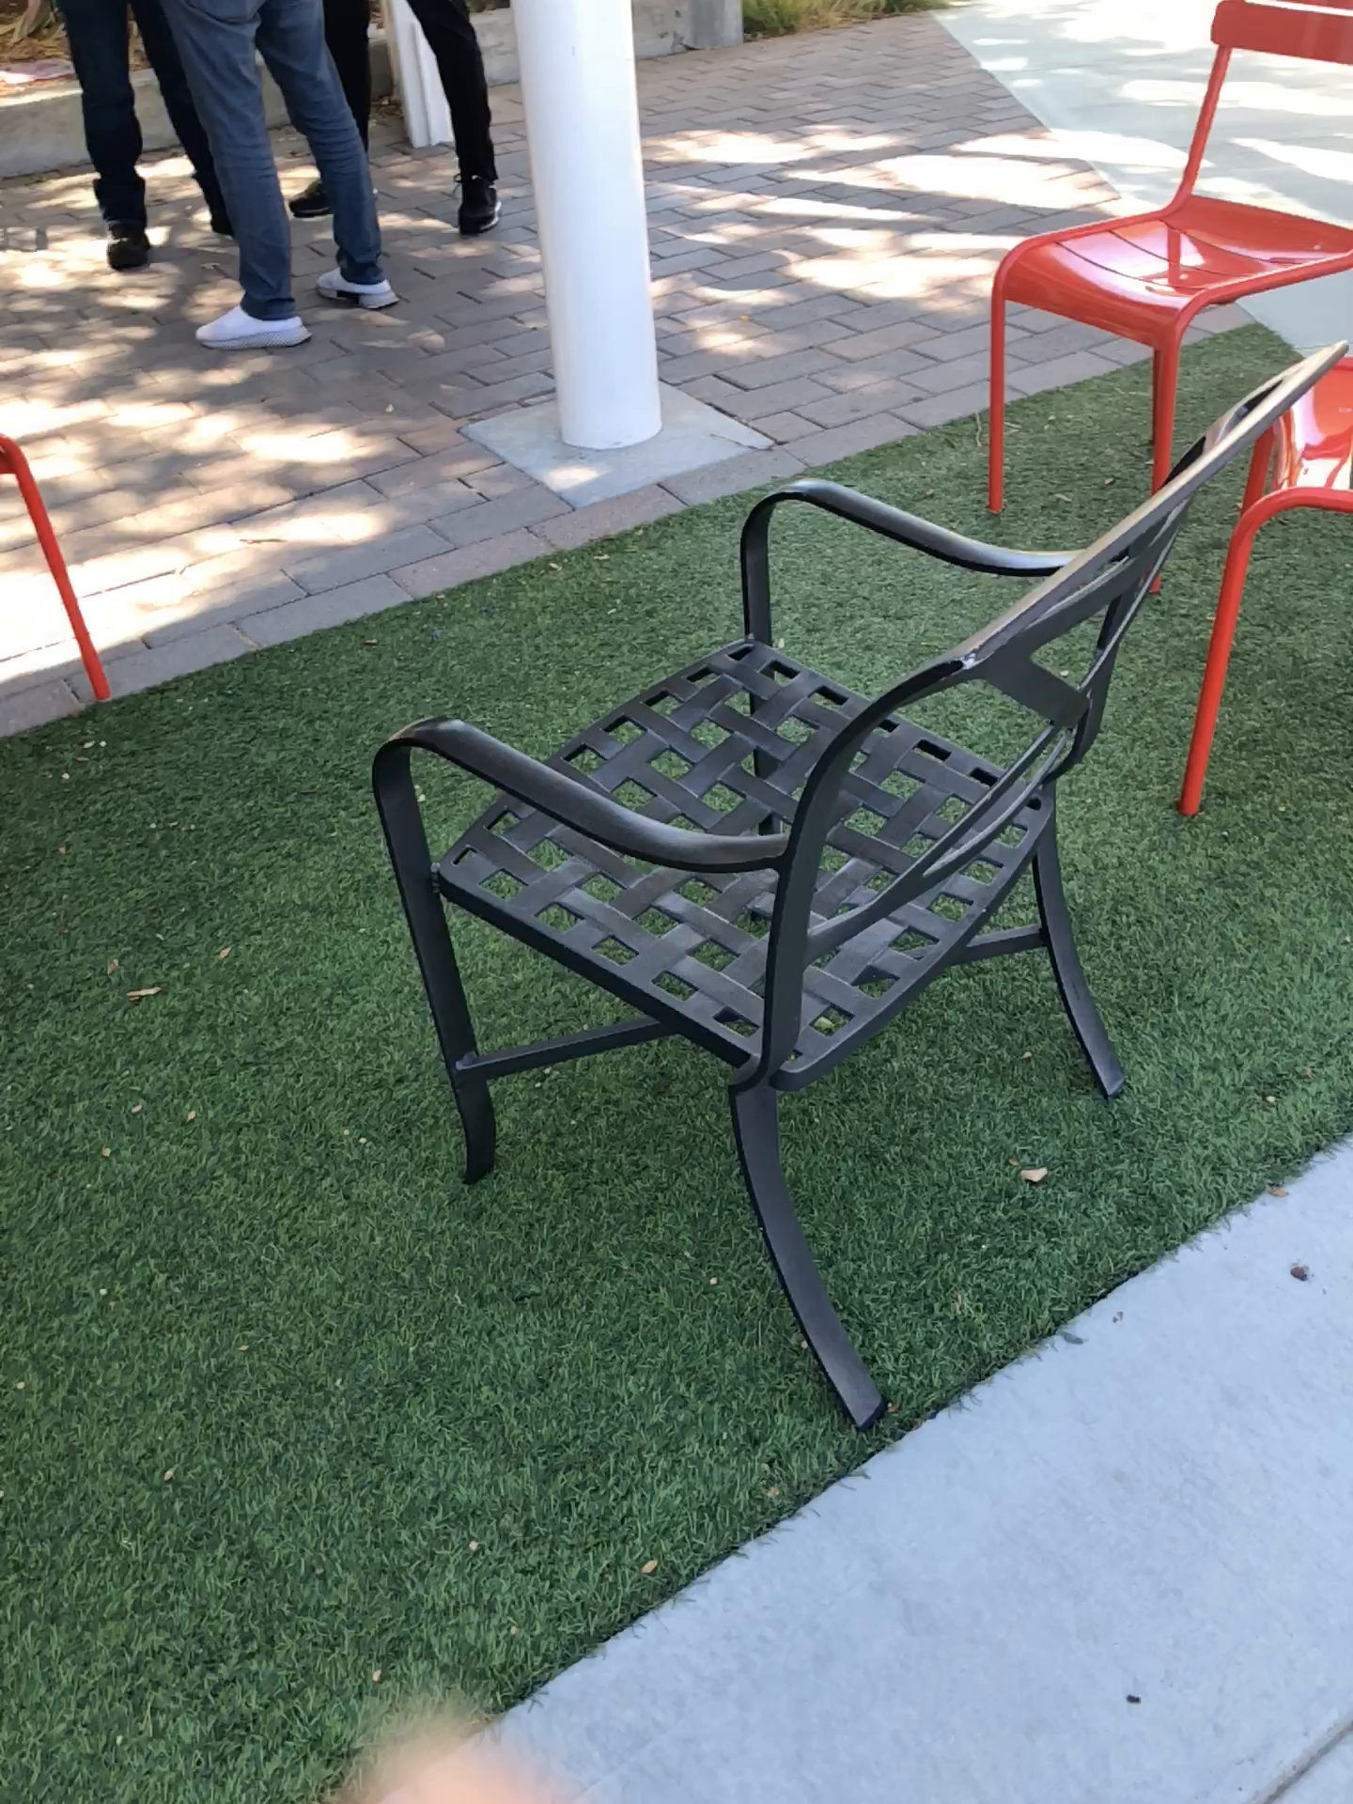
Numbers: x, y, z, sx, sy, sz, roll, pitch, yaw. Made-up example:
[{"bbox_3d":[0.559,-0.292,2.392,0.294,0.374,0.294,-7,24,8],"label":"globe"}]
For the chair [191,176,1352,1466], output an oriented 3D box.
[{"bbox_3d":[0.106,-0.114,1.370,0.642,0.806,0.642,25,47,29],"label":"chair"}]
